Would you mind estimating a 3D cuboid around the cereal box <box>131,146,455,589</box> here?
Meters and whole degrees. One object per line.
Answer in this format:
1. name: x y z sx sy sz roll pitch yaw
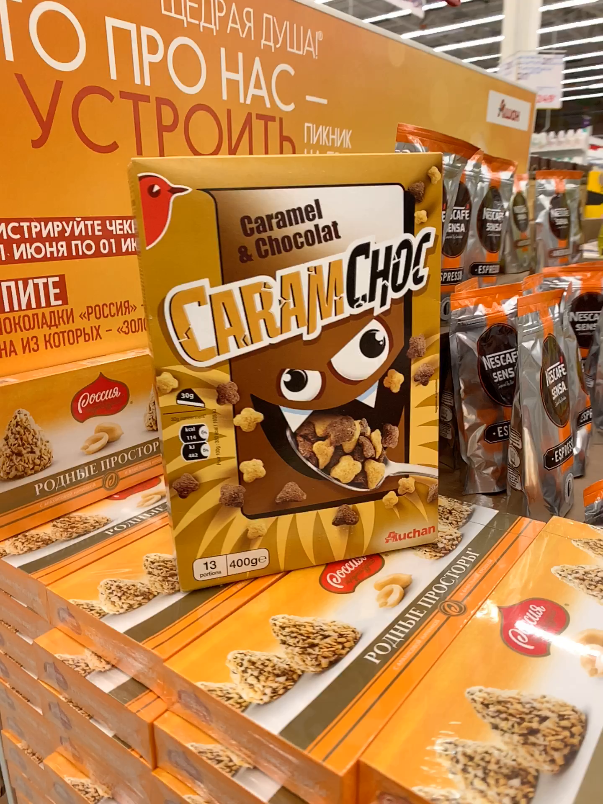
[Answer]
1. cereal box: -0.001 -0.026 0.437 0.200 0.279 0.060 -7 16 -15
